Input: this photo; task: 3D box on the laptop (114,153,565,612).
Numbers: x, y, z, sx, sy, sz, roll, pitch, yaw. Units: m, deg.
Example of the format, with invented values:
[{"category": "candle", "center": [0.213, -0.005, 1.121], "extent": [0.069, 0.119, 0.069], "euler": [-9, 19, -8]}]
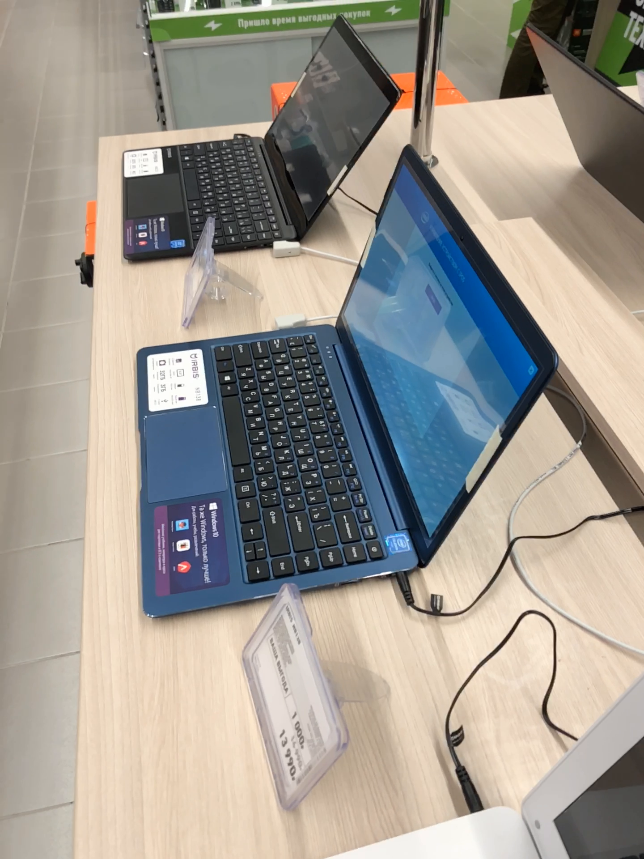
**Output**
[{"category": "laptop", "center": [-0.011, -0.059, 0.586], "extent": [0.270, 0.185, 0.310], "euler": [-9, 45, -7]}]

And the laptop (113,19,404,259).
[{"category": "laptop", "center": [-0.095, -0.401, 0.945], "extent": [0.327, 0.155, 0.302], "euler": [-10, 46, -8]}]

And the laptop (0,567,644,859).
[{"category": "laptop", "center": [0.075, 0.259, 0.219], "extent": [0.288, 0.218, 0.312], "euler": [-10, 44, -8]}]
